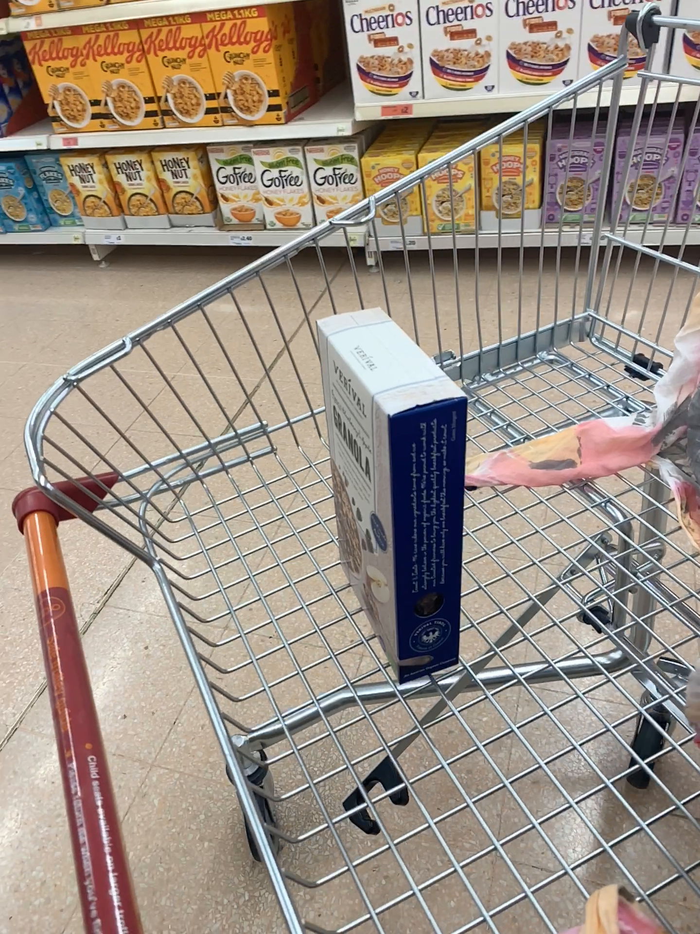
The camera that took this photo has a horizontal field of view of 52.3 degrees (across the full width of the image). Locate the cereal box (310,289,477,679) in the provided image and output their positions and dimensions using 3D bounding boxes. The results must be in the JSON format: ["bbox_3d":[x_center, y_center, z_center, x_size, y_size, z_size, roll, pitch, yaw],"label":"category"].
[{"bbox_3d":[0.028,0.014,0.497,0.050,0.228,0.141,-15,38,-14],"label":"cereal box"}]
